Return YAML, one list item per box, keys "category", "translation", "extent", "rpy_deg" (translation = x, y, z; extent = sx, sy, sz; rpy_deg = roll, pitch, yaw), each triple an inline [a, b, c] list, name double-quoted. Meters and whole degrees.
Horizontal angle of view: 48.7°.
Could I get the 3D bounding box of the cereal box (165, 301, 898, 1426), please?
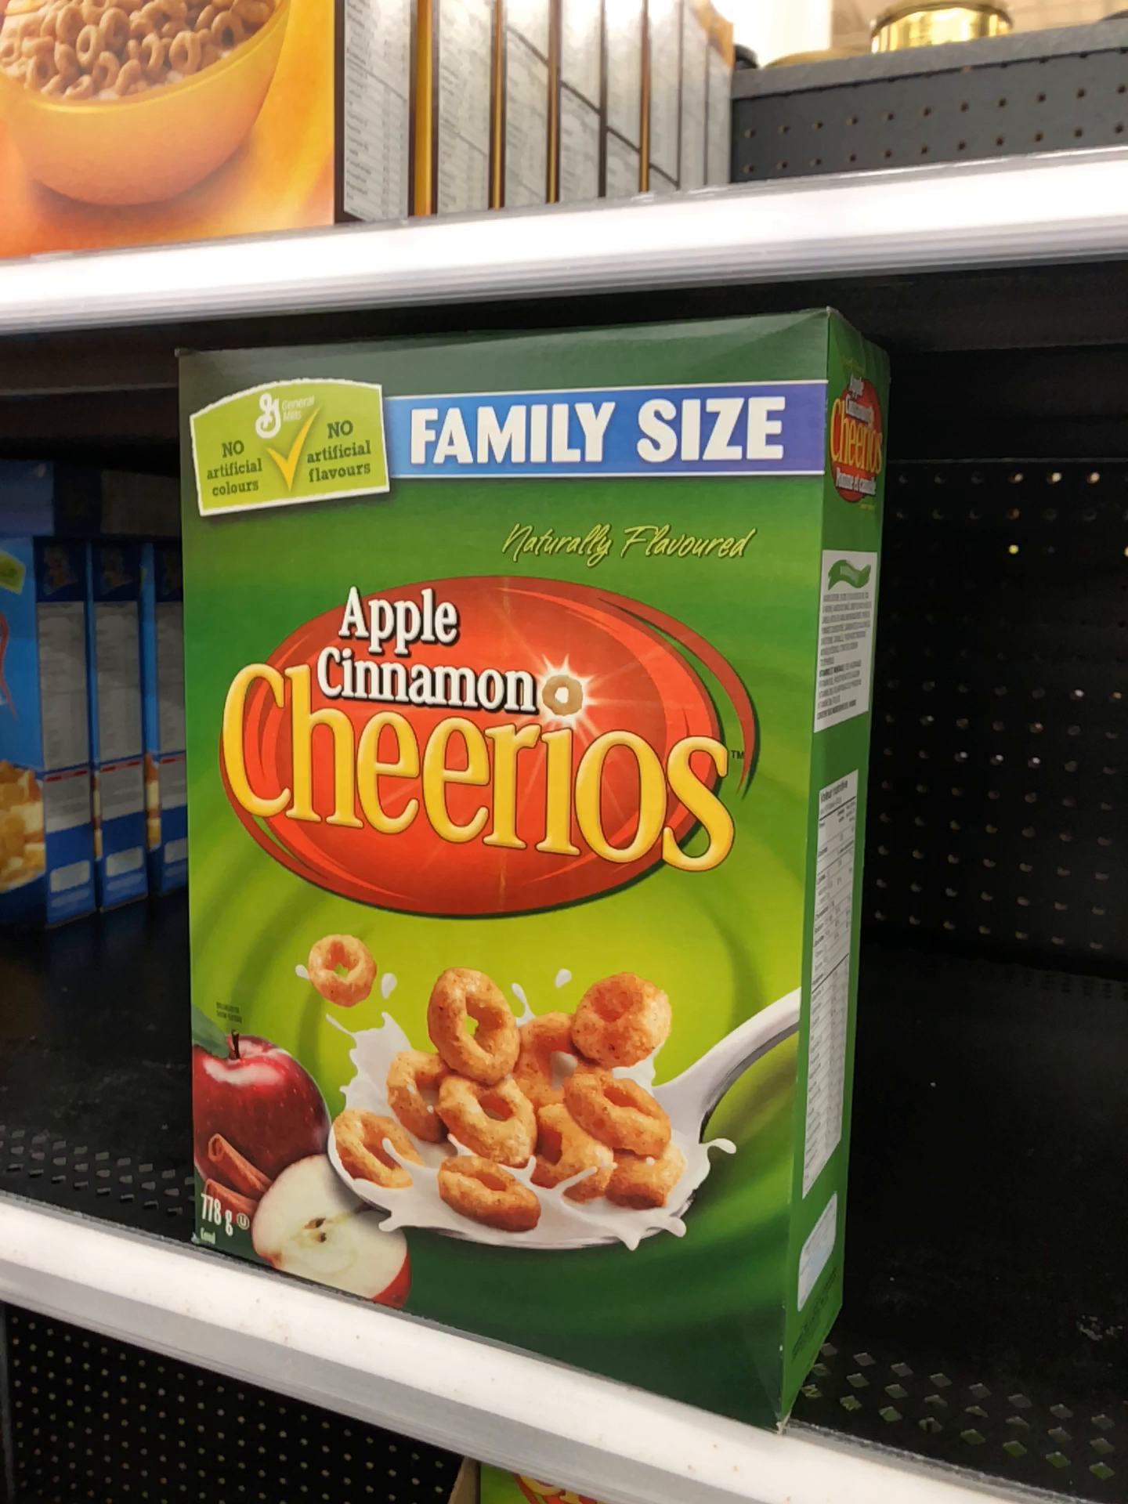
- category: "cereal box"
  translation: [-0.019, 0.027, 0.445]
  extent: [0.240, 0.329, 0.080]
  rpy_deg: [5, 8, 25]
